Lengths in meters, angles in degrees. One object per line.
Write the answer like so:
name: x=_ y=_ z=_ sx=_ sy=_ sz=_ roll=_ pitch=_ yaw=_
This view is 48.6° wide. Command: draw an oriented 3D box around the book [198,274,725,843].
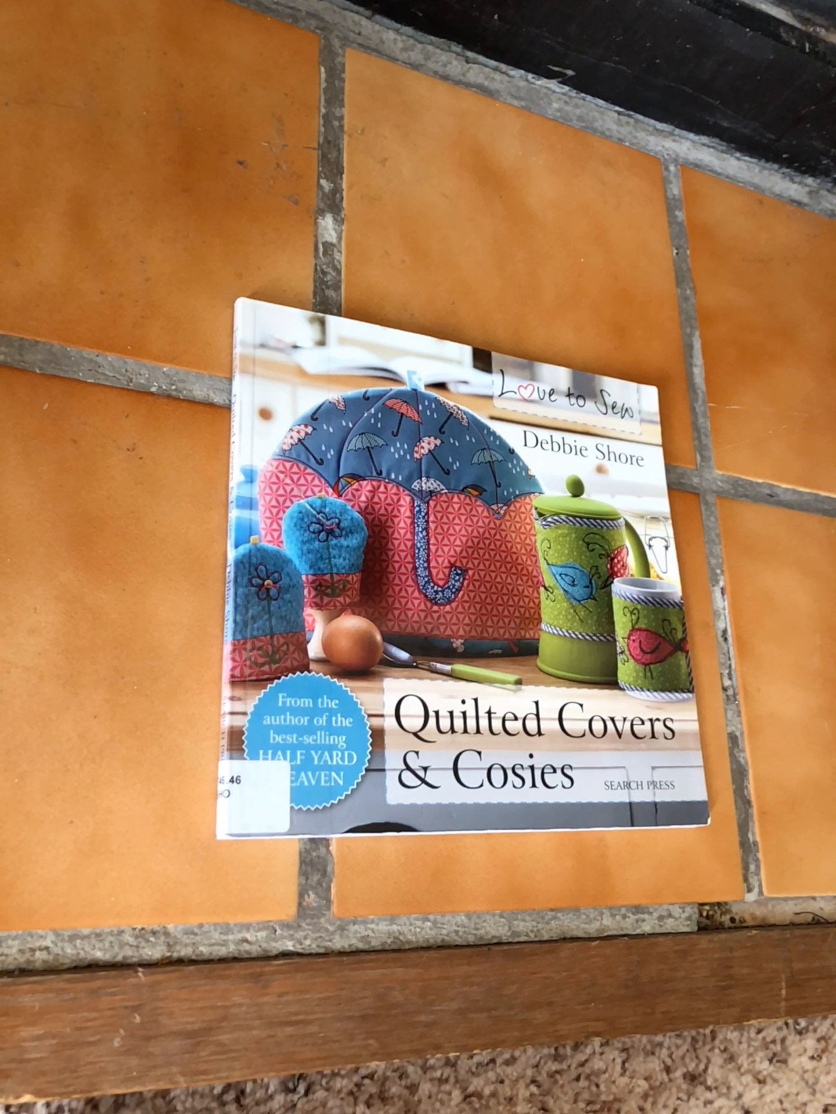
book: x=0.025 y=0.003 z=0.394 sx=0.225 sy=0.015 sz=0.219 roll=6 pitch=71 yaw=-24
